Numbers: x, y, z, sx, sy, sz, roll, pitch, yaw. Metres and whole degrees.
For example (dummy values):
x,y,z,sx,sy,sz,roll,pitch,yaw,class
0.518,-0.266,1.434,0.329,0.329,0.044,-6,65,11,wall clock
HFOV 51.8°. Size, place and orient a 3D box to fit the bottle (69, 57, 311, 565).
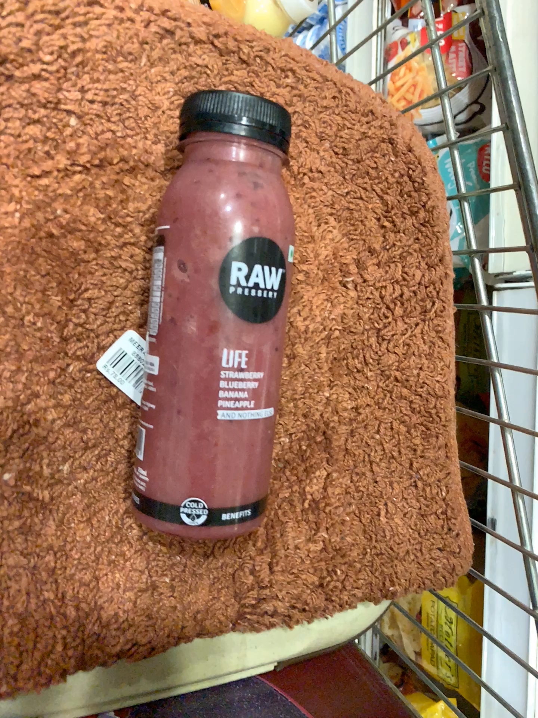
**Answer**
x,y,z,sx,sy,sz,roll,pitch,yaw,class
-0.030,-0.013,0.201,0.060,0.050,0.150,2,95,-36,bottle
